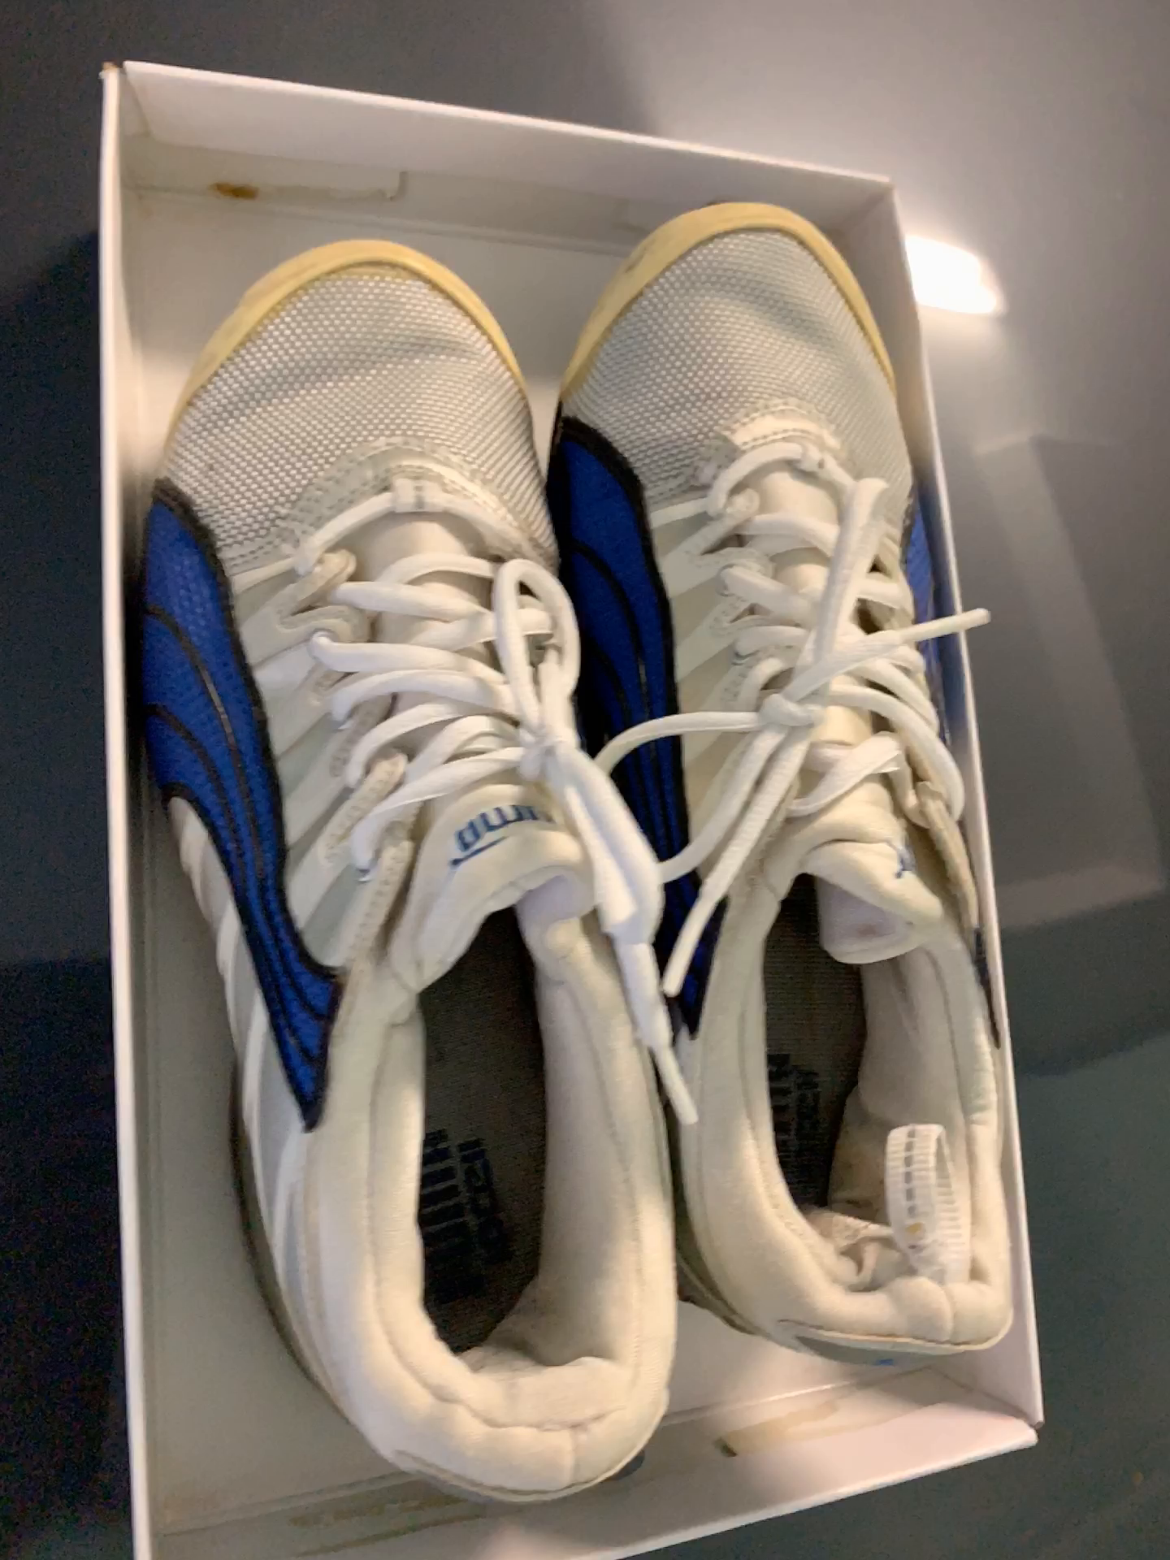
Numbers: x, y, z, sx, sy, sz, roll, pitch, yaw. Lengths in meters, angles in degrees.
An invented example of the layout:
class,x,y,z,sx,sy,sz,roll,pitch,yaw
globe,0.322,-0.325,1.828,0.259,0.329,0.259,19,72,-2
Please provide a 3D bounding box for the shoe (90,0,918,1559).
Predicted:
class,x,y,z,sx,sy,sz,roll,pitch,yaw
shoe,-0.034,-0.007,0.255,0.110,0.089,0.281,-4,74,-20

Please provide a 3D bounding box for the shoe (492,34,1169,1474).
class,x,y,z,sx,sy,sz,roll,pitch,yaw
shoe,0.053,-0.016,0.283,0.110,0.089,0.281,-1,73,-18
